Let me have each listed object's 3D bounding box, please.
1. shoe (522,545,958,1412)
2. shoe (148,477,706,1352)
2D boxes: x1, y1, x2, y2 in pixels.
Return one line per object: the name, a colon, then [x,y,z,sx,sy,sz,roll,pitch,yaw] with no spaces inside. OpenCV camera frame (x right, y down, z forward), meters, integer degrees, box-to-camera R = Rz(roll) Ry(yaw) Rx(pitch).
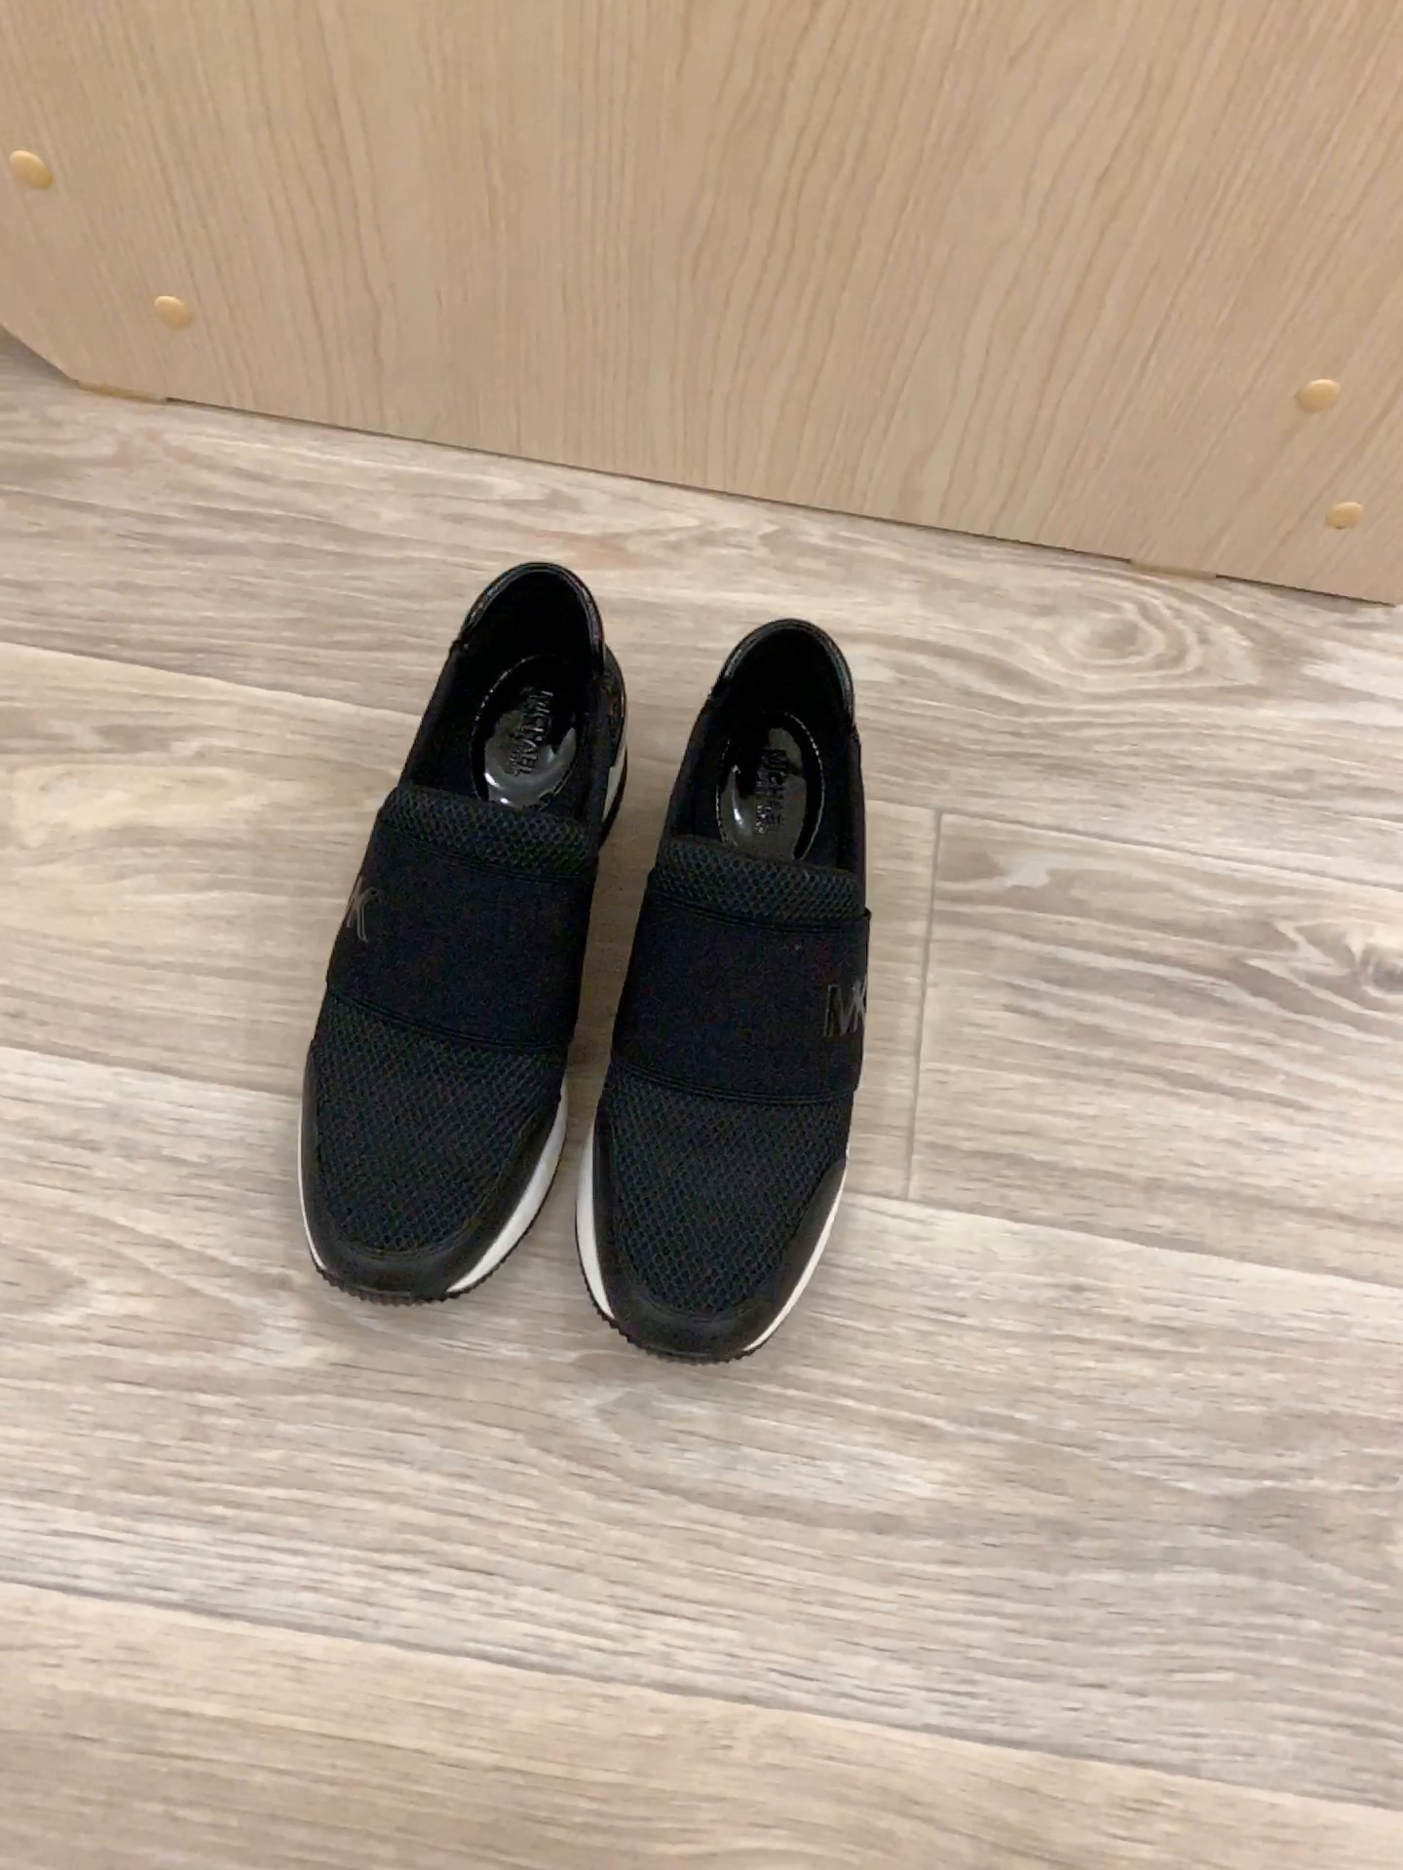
shoe: [0.015,0.014,0.494,0.098,0.120,0.261,10,64,-1]
shoe: [-0.079,-0.008,0.492,0.098,0.120,0.261,13,64,0]
